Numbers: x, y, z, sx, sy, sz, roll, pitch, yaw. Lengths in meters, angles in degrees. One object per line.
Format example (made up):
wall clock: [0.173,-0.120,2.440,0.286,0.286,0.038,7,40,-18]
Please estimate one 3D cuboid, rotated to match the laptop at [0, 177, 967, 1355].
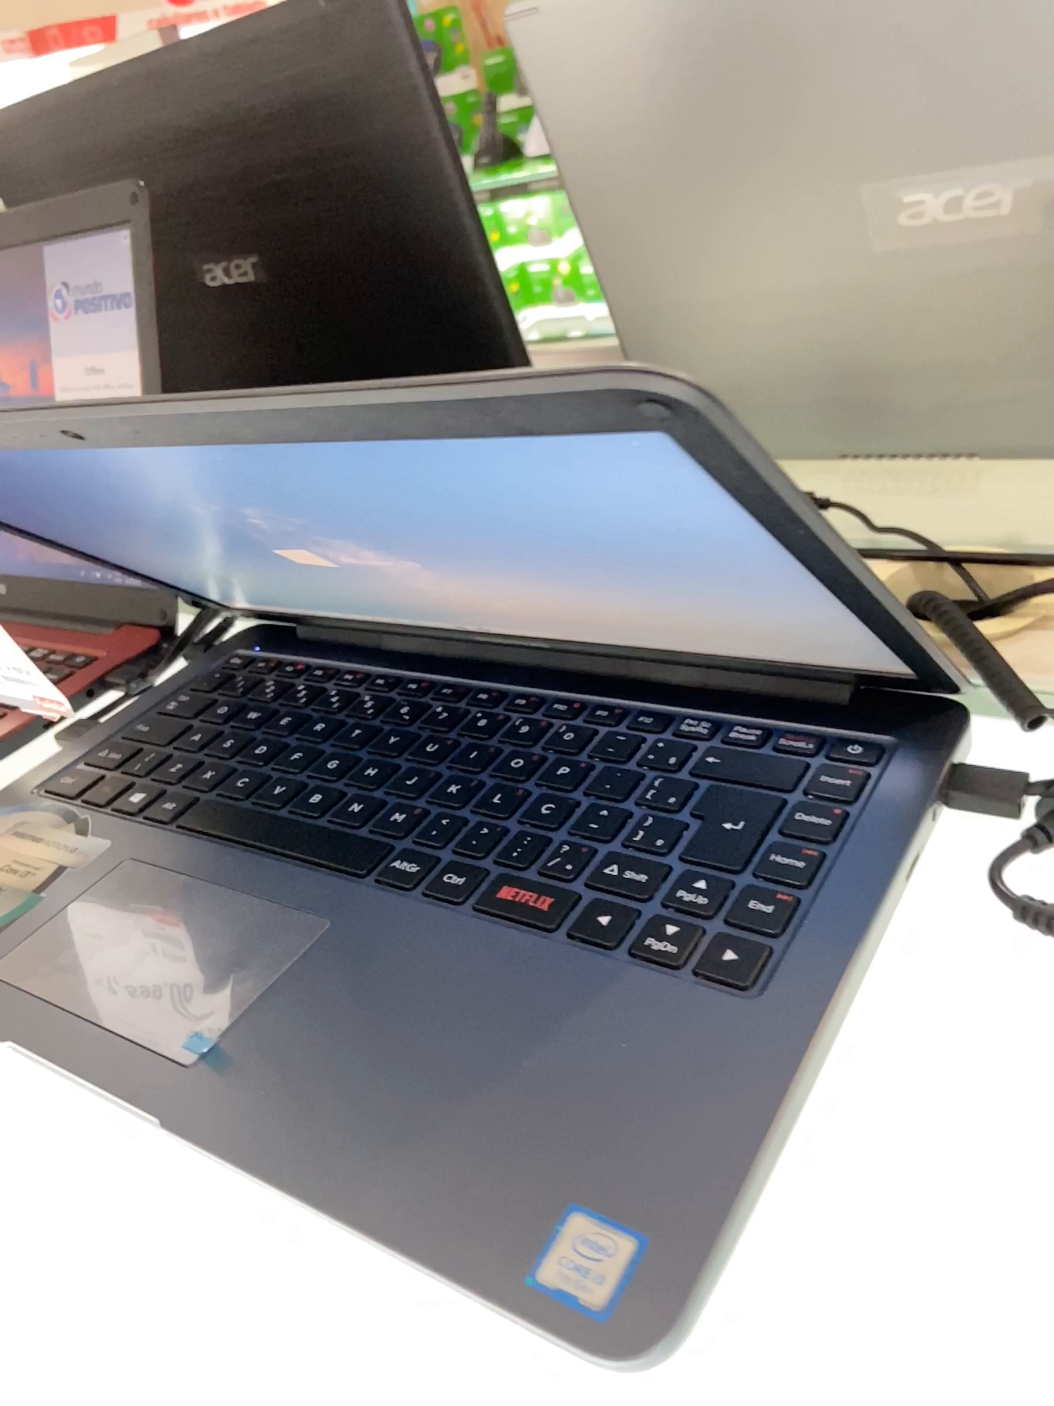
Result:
laptop: [-0.070,-0.024,0.310,0.316,0.145,0.211,8,36,35]
